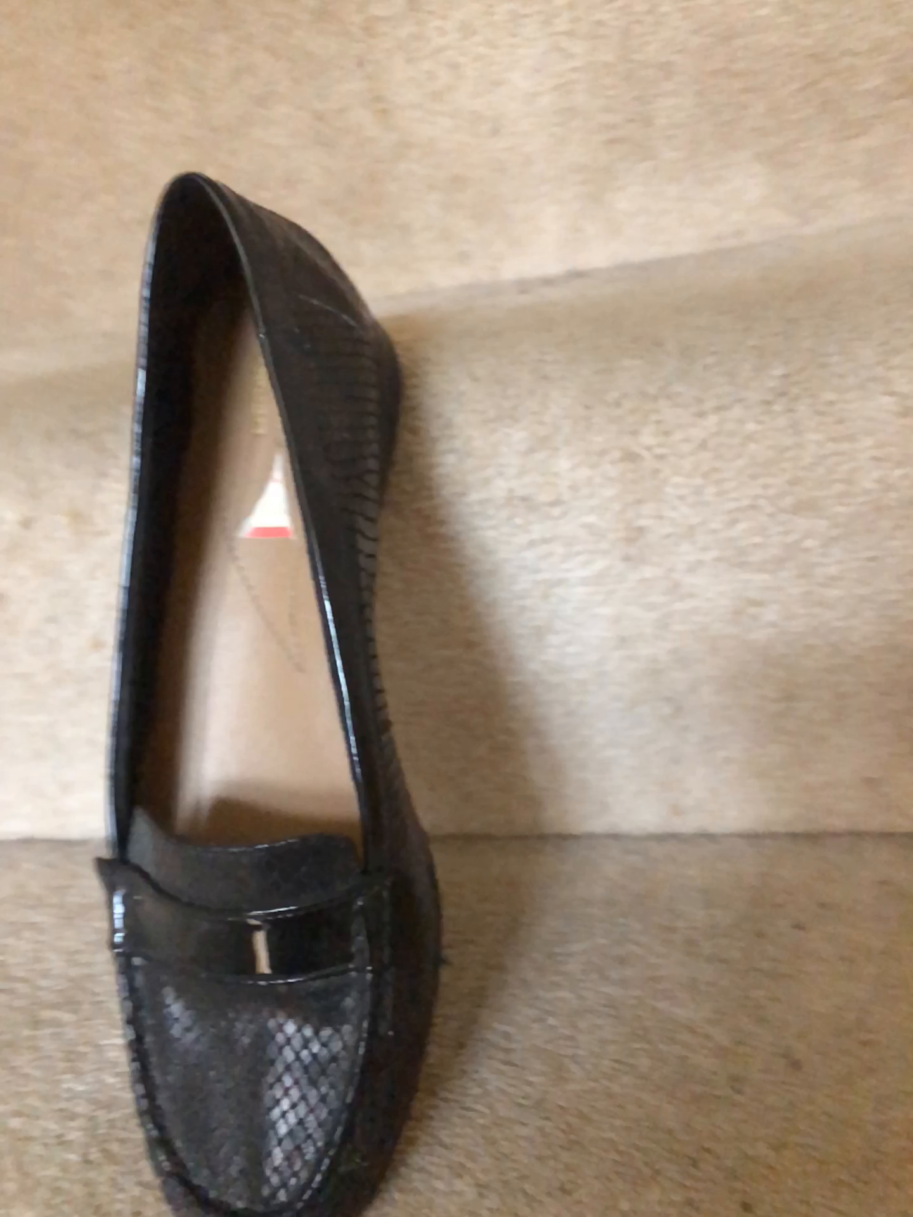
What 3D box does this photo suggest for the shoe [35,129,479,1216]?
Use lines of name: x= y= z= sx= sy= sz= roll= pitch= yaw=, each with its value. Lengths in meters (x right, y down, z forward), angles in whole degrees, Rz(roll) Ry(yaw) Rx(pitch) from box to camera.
shoe: x=-0.048 y=0.022 z=0.267 sx=0.090 sy=0.260 sz=0.070 roll=-3 pitch=-6 yaw=9
